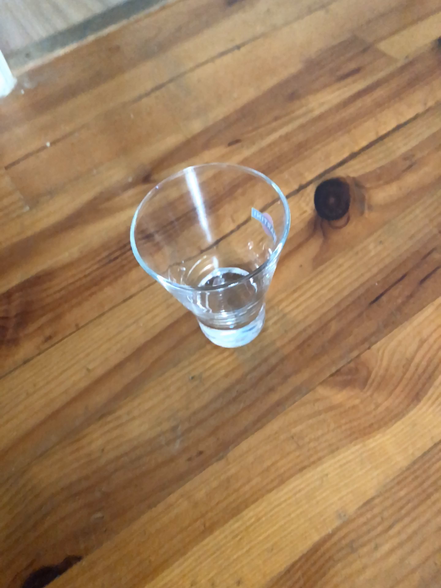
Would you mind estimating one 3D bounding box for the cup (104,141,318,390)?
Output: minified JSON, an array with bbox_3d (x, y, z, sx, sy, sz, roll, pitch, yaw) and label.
[{"bbox_3d":[-0.004,-0.016,0.308,0.088,0.097,0.092,-3,57,5],"label":"cup"}]
